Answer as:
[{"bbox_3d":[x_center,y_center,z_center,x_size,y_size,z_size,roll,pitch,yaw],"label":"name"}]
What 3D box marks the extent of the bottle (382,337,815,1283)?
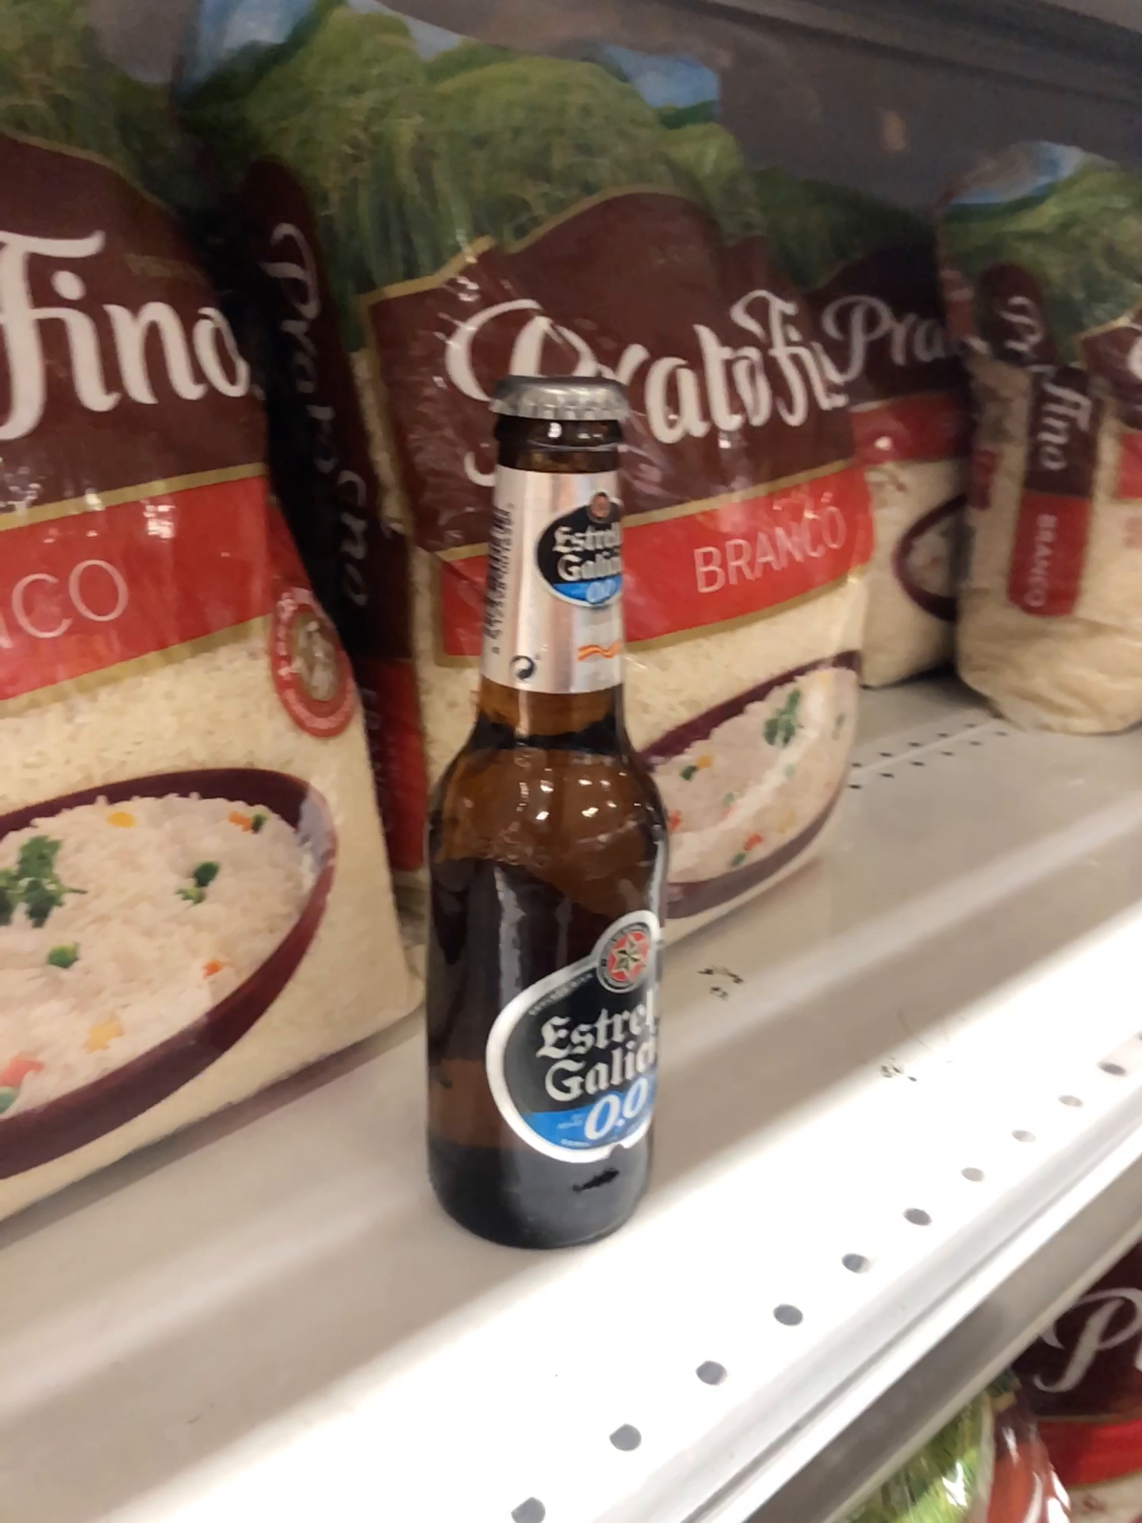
[{"bbox_3d":[0.000,0.008,0.279,0.060,0.189,0.060,3,20,-1],"label":"bottle"}]
